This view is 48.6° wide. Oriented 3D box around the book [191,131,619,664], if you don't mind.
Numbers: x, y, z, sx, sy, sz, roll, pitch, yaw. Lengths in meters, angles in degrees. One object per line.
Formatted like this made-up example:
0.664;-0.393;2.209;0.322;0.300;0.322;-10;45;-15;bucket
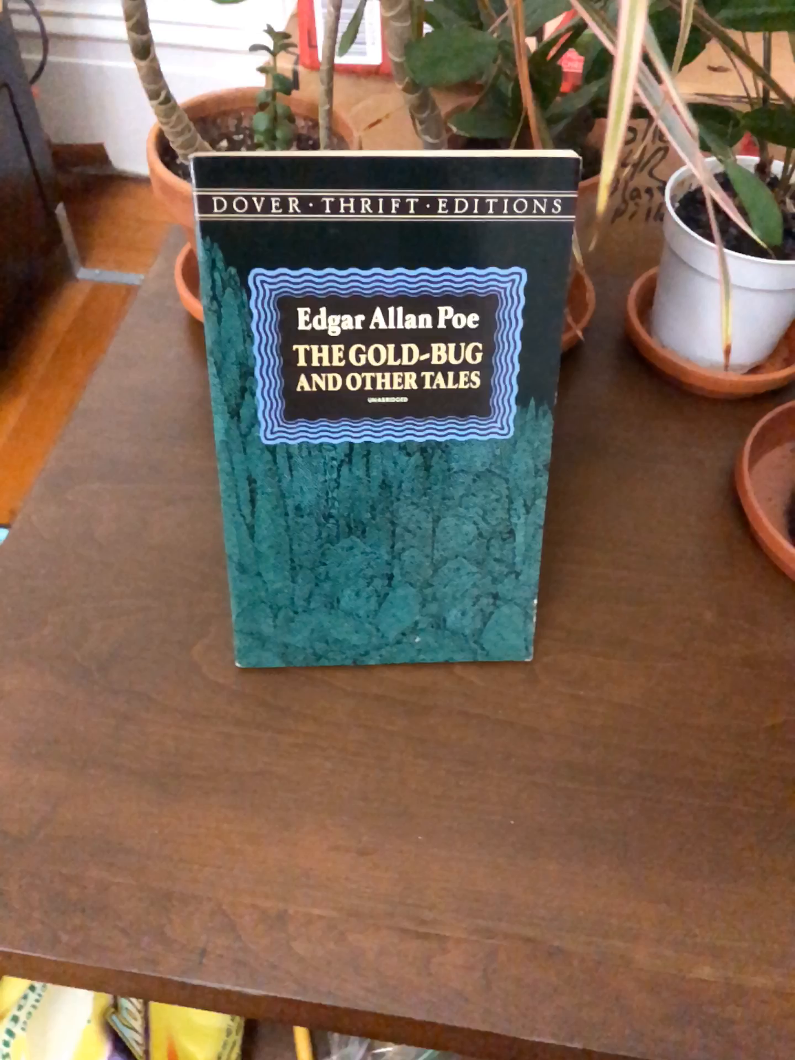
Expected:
0.002;-0.041;0.345;0.140;0.209;0.020;-1;28;-3;book
